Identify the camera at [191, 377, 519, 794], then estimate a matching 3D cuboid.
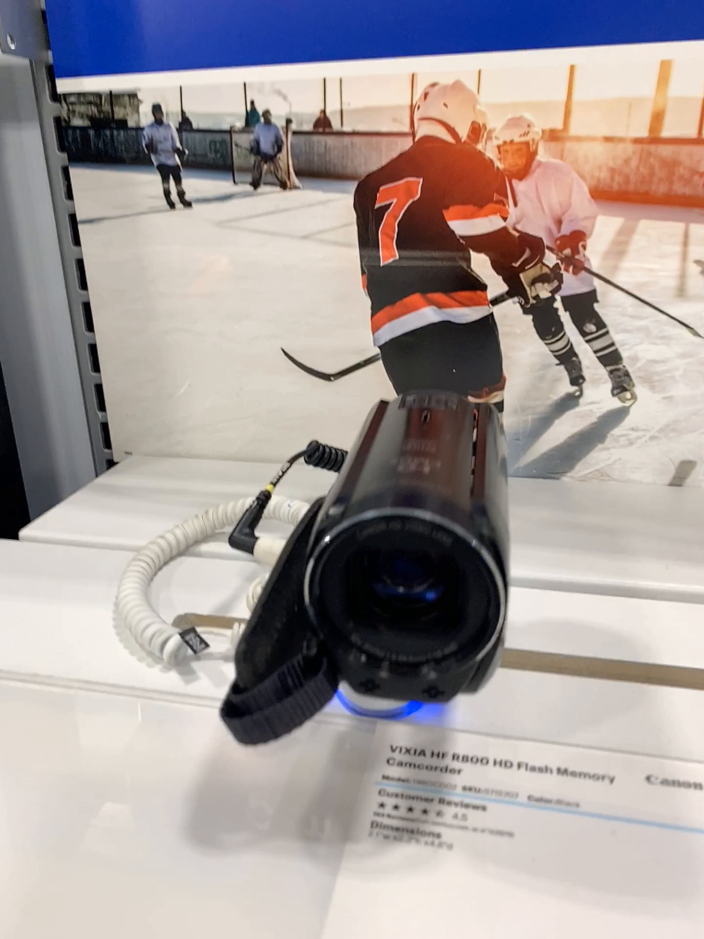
[{"bbox_3d":[0.013,0.020,0.231,0.072,0.062,0.140,4,23,11],"label":"camera"}]
